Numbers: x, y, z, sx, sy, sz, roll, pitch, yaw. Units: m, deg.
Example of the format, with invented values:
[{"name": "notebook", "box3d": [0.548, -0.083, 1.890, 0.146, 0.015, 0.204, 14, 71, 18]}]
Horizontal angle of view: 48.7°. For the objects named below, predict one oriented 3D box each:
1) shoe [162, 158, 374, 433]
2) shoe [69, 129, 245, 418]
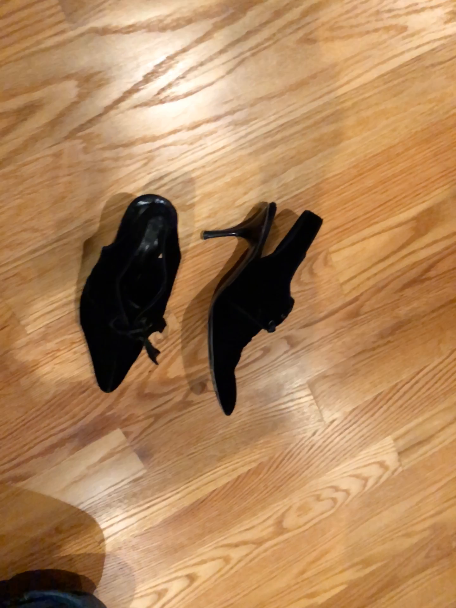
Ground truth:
[{"name": "shoe", "box3d": [0.031, -0.009, 0.538, 0.118, 0.107, 0.252, 14, 104, -21]}, {"name": "shoe", "box3d": [-0.082, -0.031, 0.504, 0.107, 0.117, 0.252, 9, 106, -21]}]
